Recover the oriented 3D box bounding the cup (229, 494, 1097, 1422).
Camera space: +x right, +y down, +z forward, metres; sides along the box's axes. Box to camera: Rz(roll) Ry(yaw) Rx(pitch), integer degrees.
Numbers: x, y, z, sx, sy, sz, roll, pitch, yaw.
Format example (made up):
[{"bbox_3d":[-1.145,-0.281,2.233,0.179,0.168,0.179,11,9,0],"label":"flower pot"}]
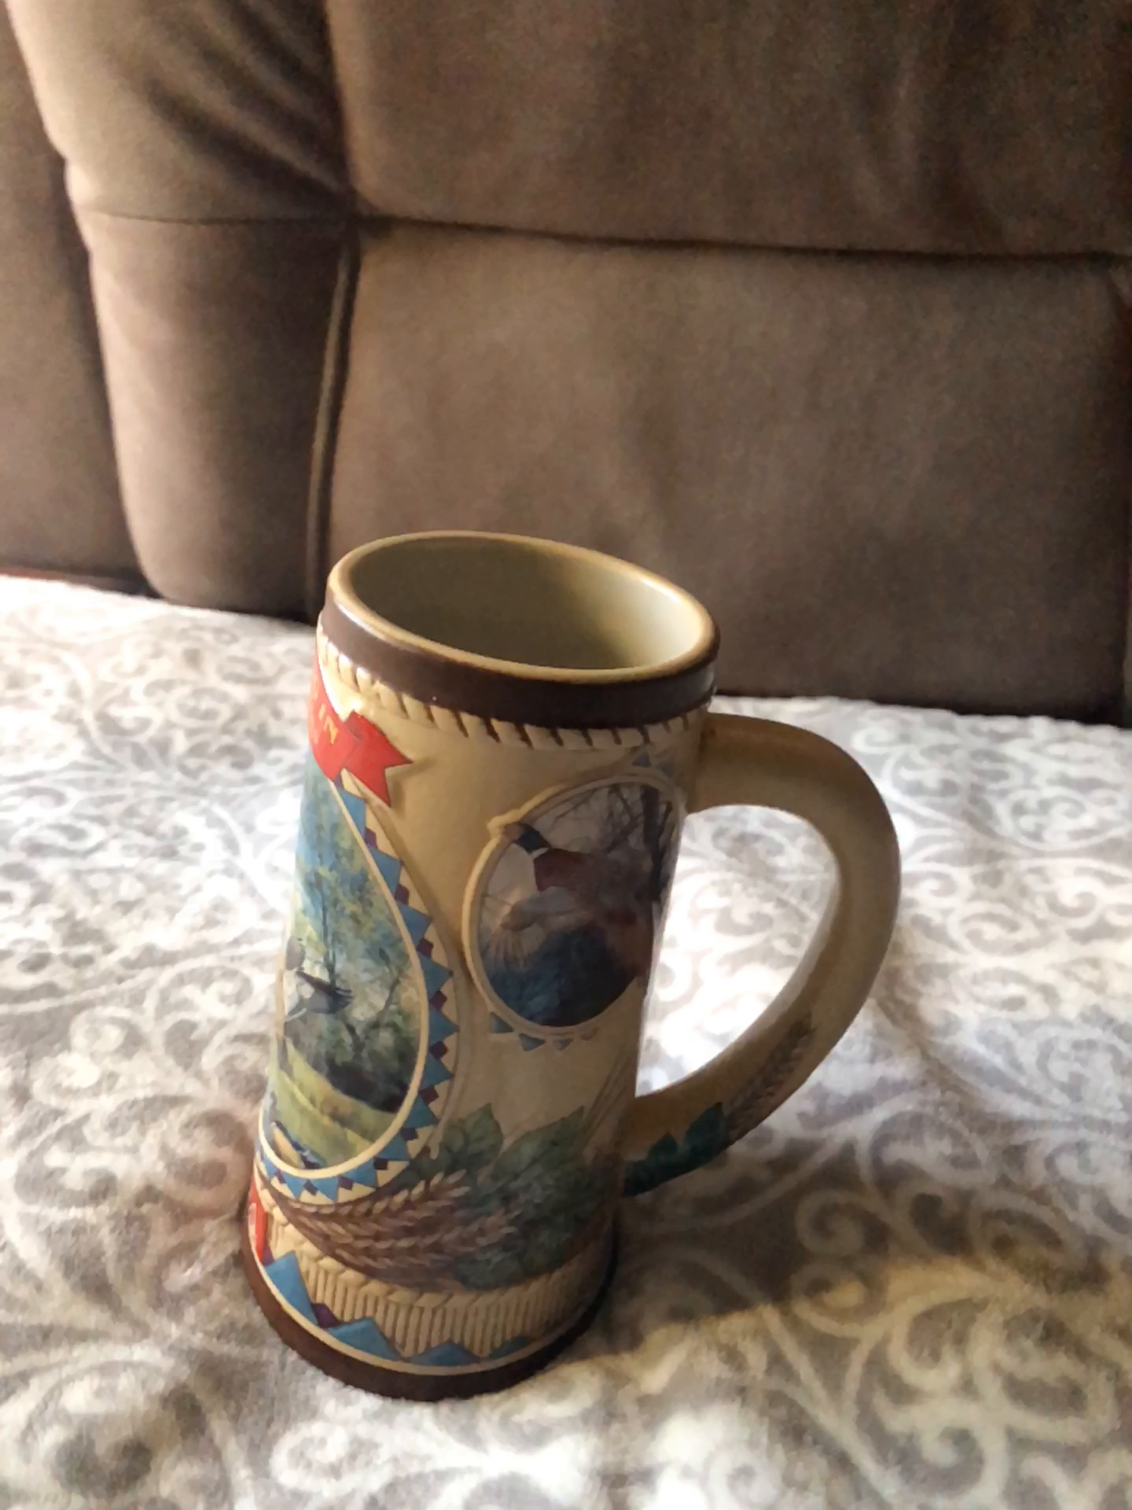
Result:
[{"bbox_3d":[0.005,0.053,0.306,0.144,0.188,0.099,7,27,-10],"label":"cup"}]
